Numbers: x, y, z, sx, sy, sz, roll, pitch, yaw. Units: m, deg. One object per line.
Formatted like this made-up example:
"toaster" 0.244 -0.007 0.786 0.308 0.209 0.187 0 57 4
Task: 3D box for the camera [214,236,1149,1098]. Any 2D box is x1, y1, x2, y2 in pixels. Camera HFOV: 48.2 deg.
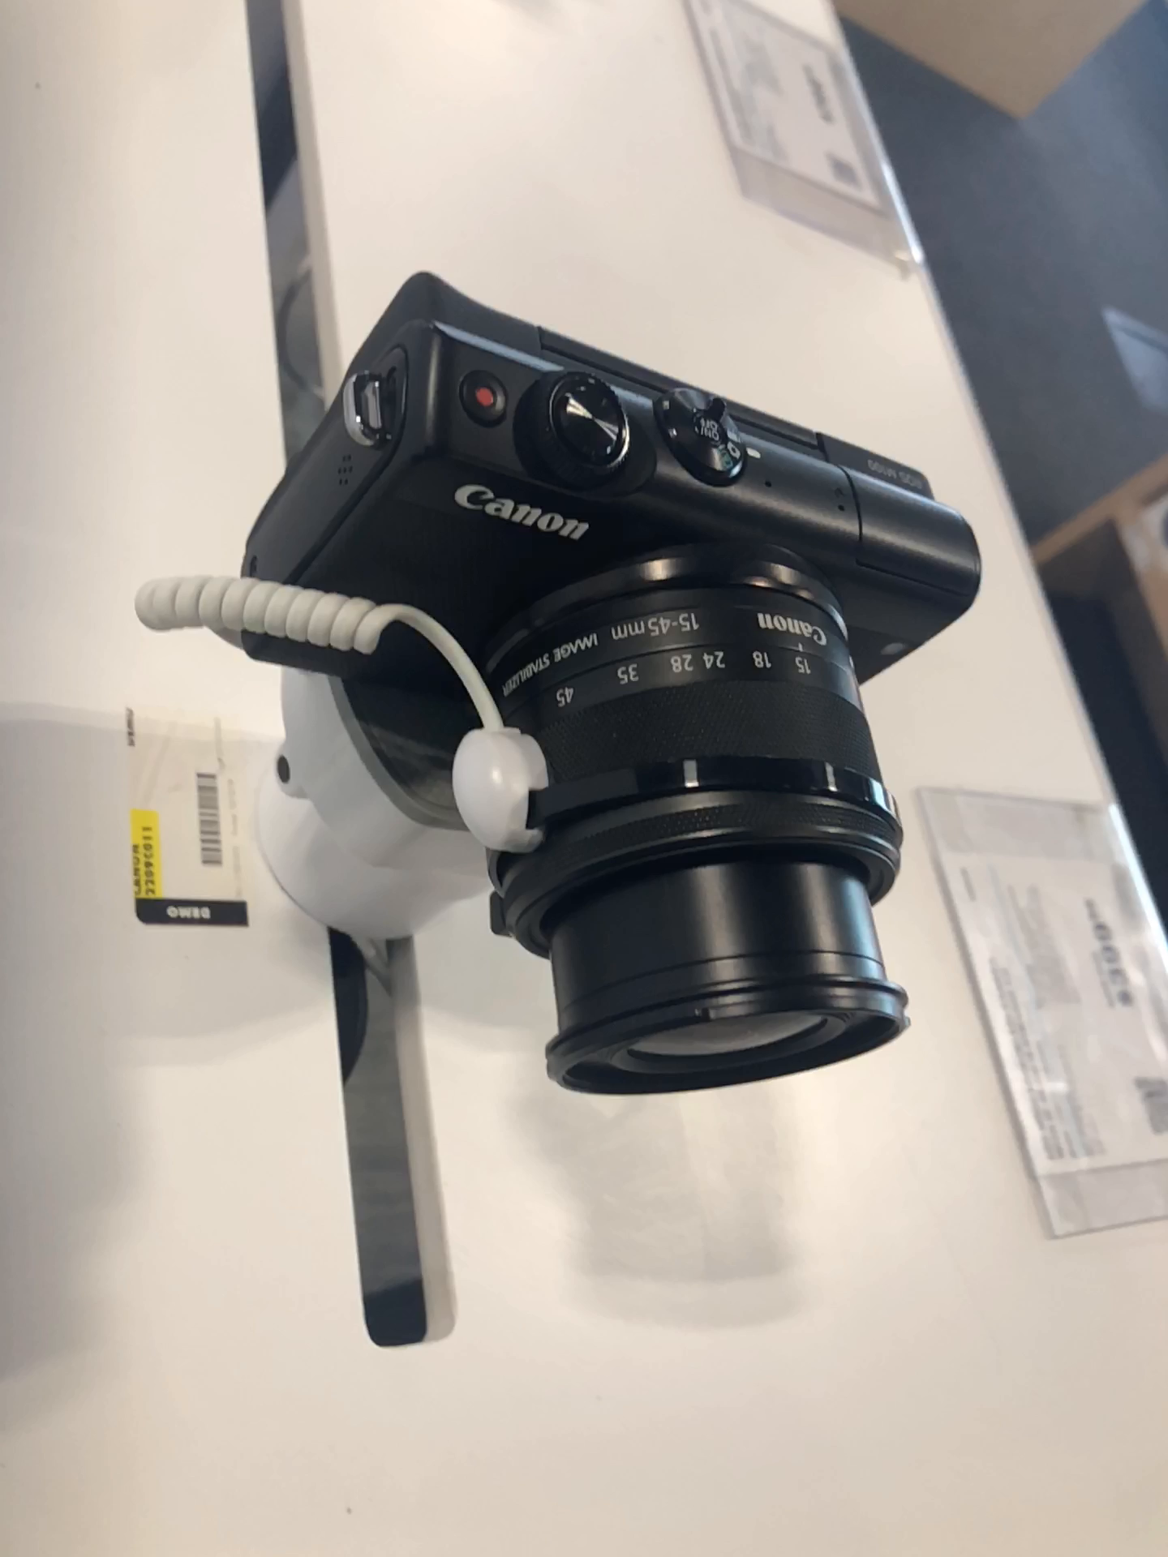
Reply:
"camera" 0.009 -0.005 0.201 0.110 0.072 0.091 10 60 -33
